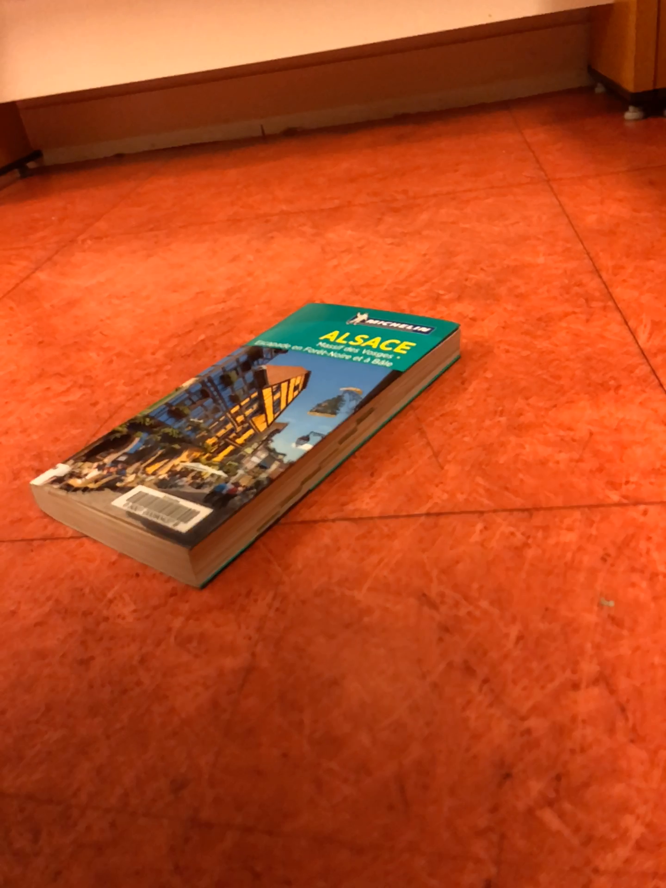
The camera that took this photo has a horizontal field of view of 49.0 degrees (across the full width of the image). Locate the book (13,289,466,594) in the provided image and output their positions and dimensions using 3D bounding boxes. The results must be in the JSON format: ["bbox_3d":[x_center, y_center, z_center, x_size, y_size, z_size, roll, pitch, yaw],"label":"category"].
[{"bbox_3d":[-0.035,-0.021,0.377,0.116,0.030,0.214,15,40,35],"label":"book"}]
